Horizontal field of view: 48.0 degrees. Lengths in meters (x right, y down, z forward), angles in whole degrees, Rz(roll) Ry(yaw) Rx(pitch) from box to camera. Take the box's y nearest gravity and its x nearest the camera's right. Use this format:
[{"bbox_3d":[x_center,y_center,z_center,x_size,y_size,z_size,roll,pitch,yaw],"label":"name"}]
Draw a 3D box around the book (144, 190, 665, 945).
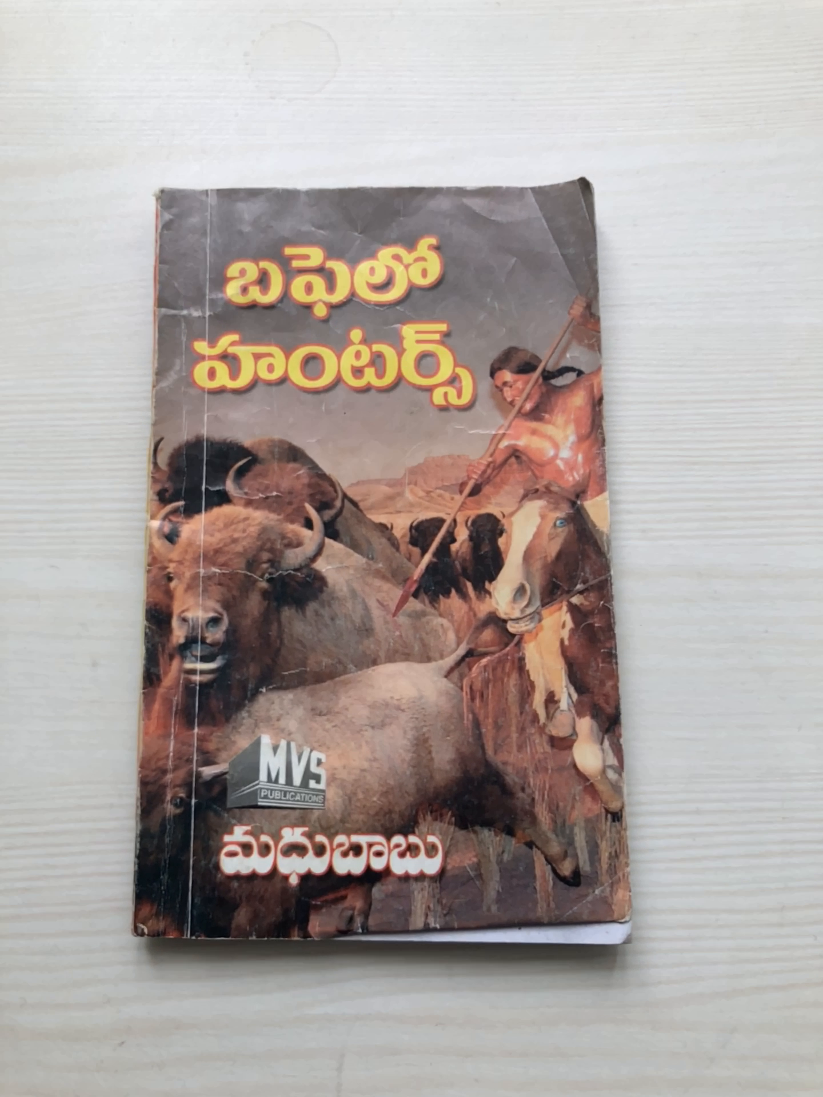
[{"bbox_3d":[-0.002,0.002,0.194,0.100,0.020,0.150,0,85,1],"label":"book"}]
